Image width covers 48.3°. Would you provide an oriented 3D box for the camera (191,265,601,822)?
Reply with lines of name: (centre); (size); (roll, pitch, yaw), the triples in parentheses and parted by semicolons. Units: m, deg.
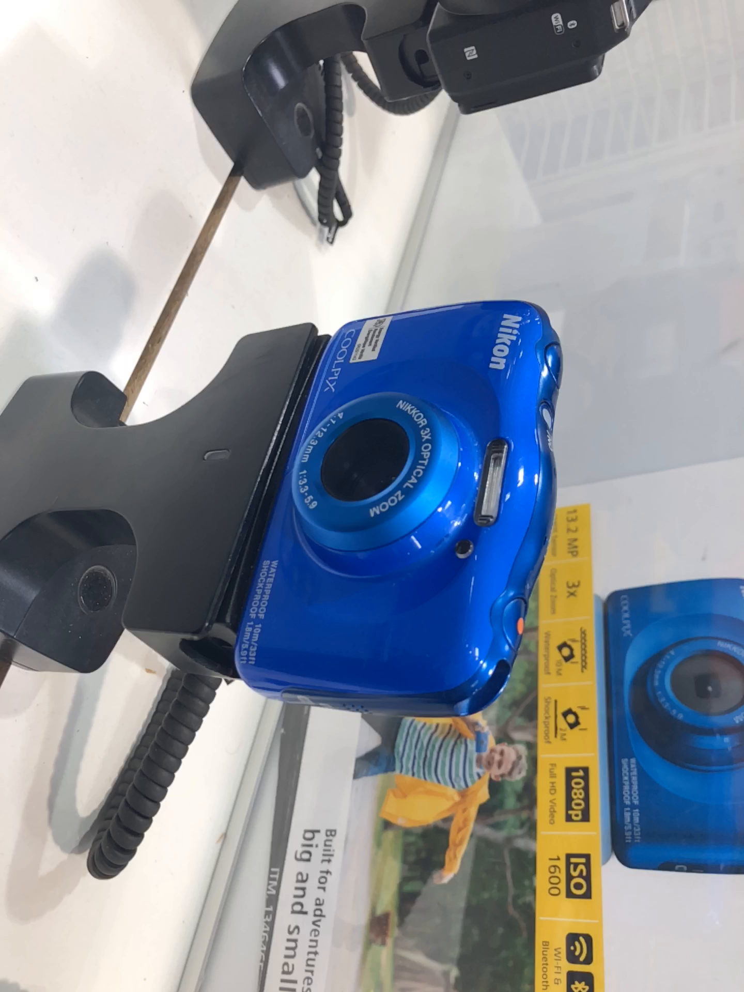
camera: (0.015, 0.009, 0.223); (0.050, 0.070, 0.130); (51, 45, -46)
